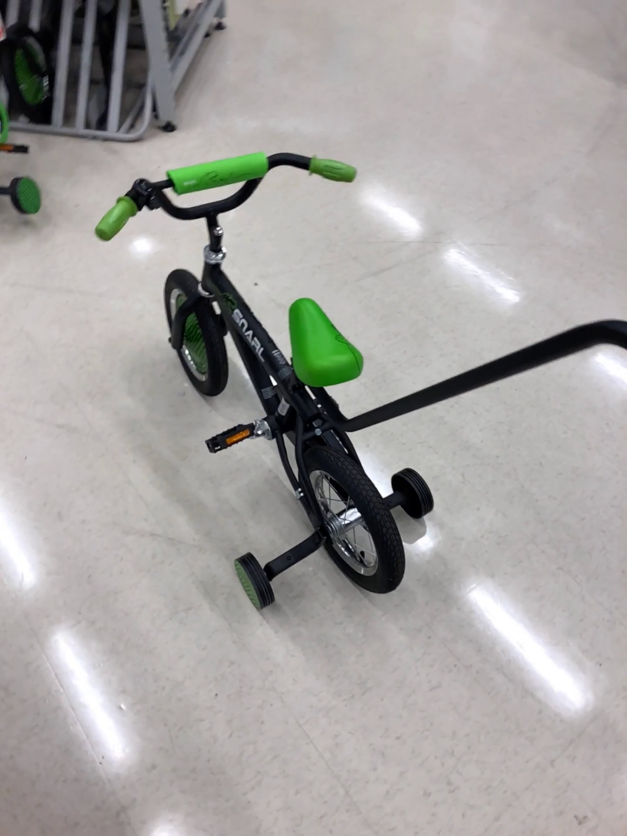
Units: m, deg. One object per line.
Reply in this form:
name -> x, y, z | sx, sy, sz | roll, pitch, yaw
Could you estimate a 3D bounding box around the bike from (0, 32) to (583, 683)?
bike -> -0.087, -0.135, 1.241 | 0.491, 0.600, 0.849 | -27, 59, -22
